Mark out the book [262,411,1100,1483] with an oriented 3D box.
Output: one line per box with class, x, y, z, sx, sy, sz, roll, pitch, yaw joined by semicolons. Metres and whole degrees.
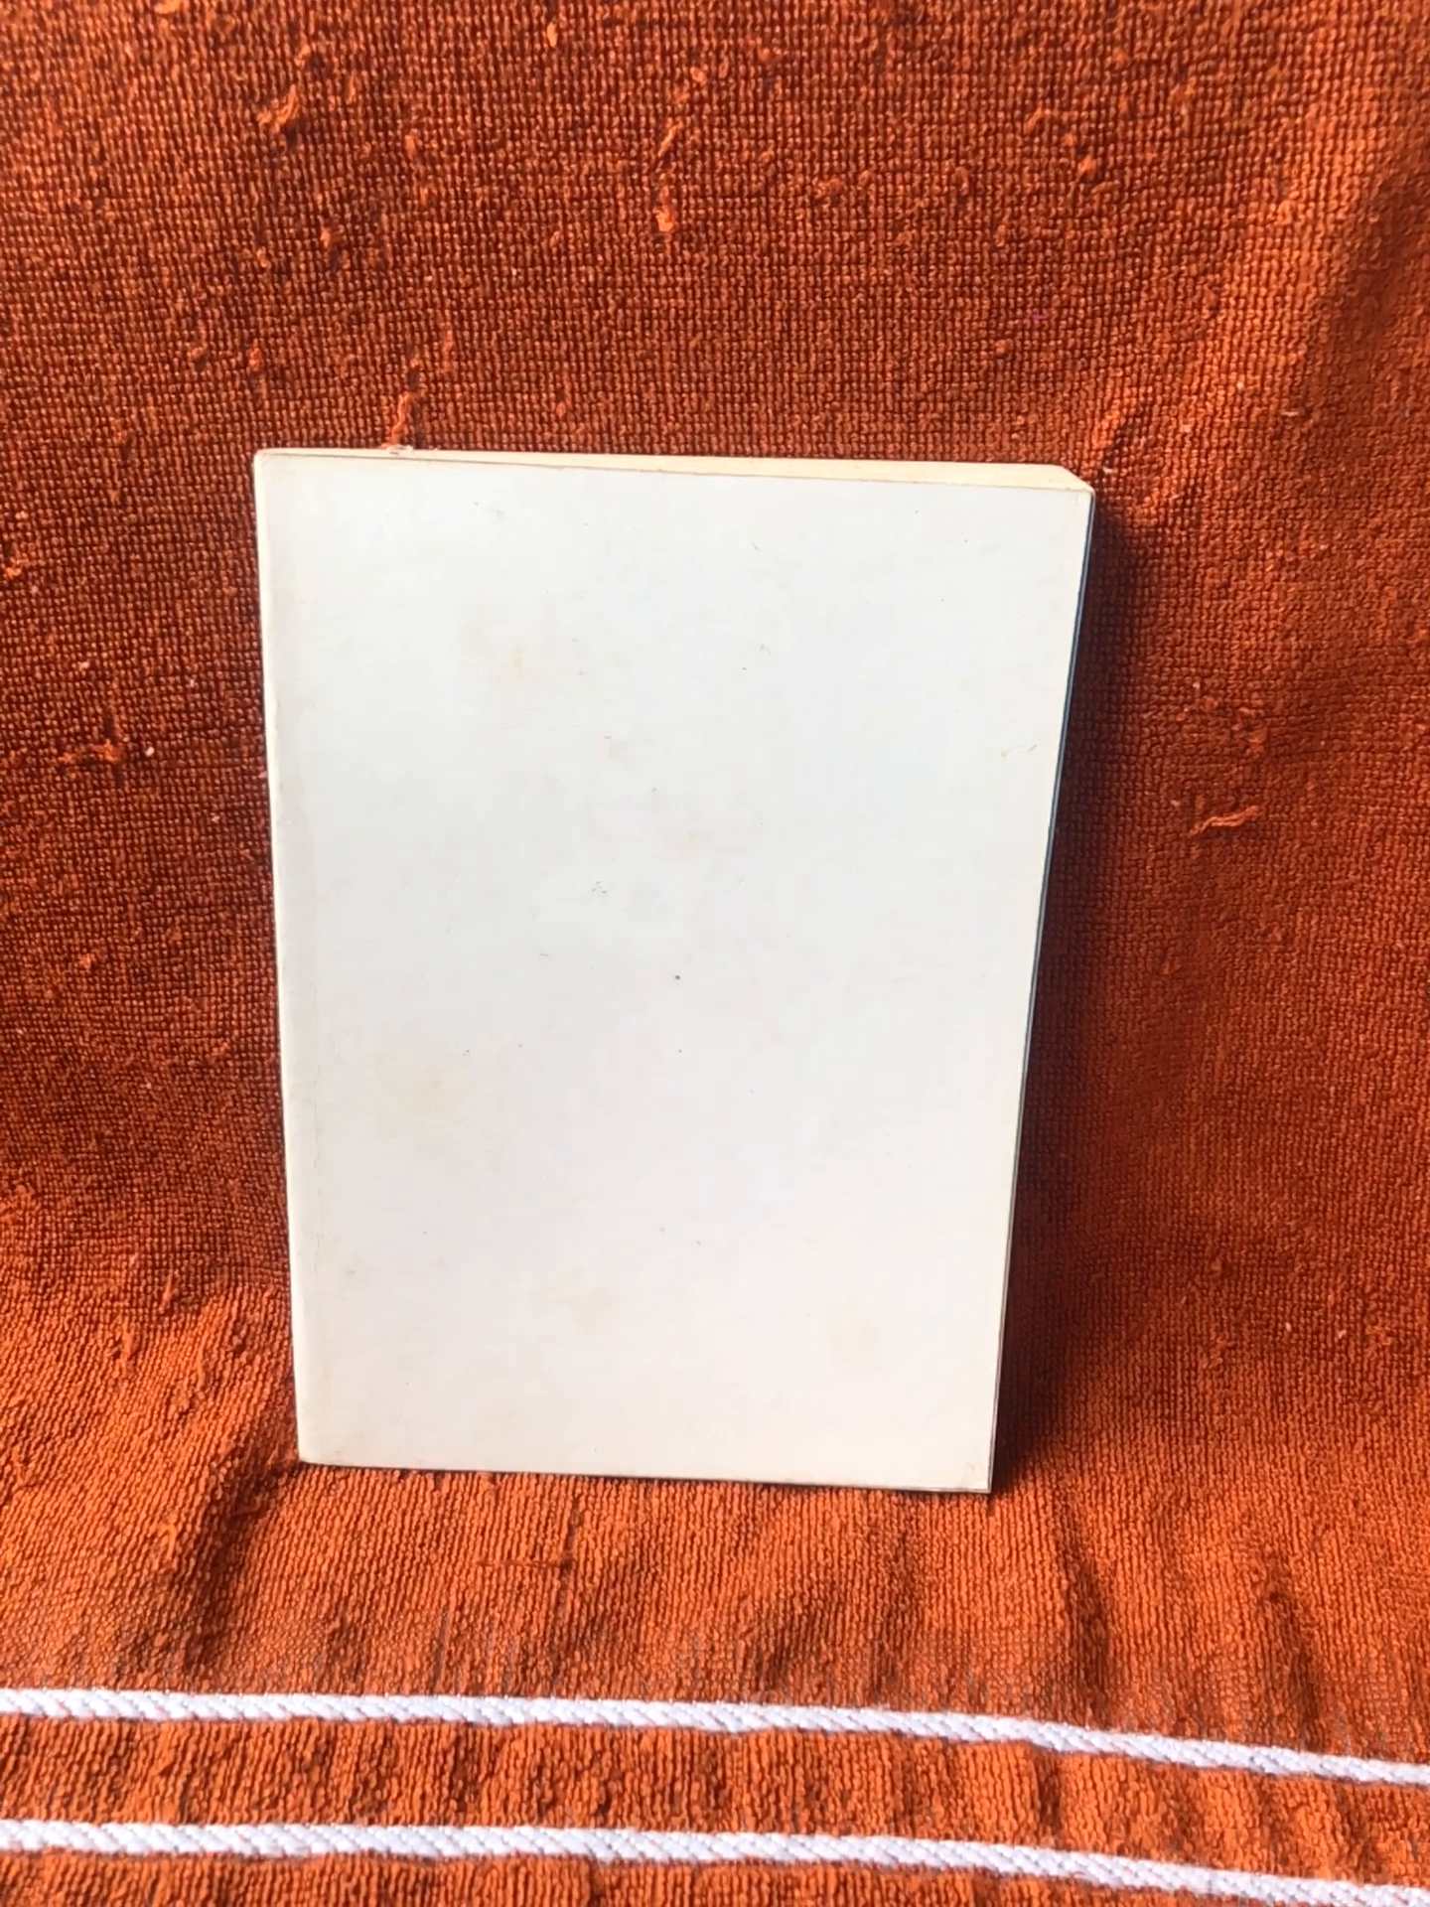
book;-0.011;0.002;0.318;0.150;0.200;0.030;3;9;-1
